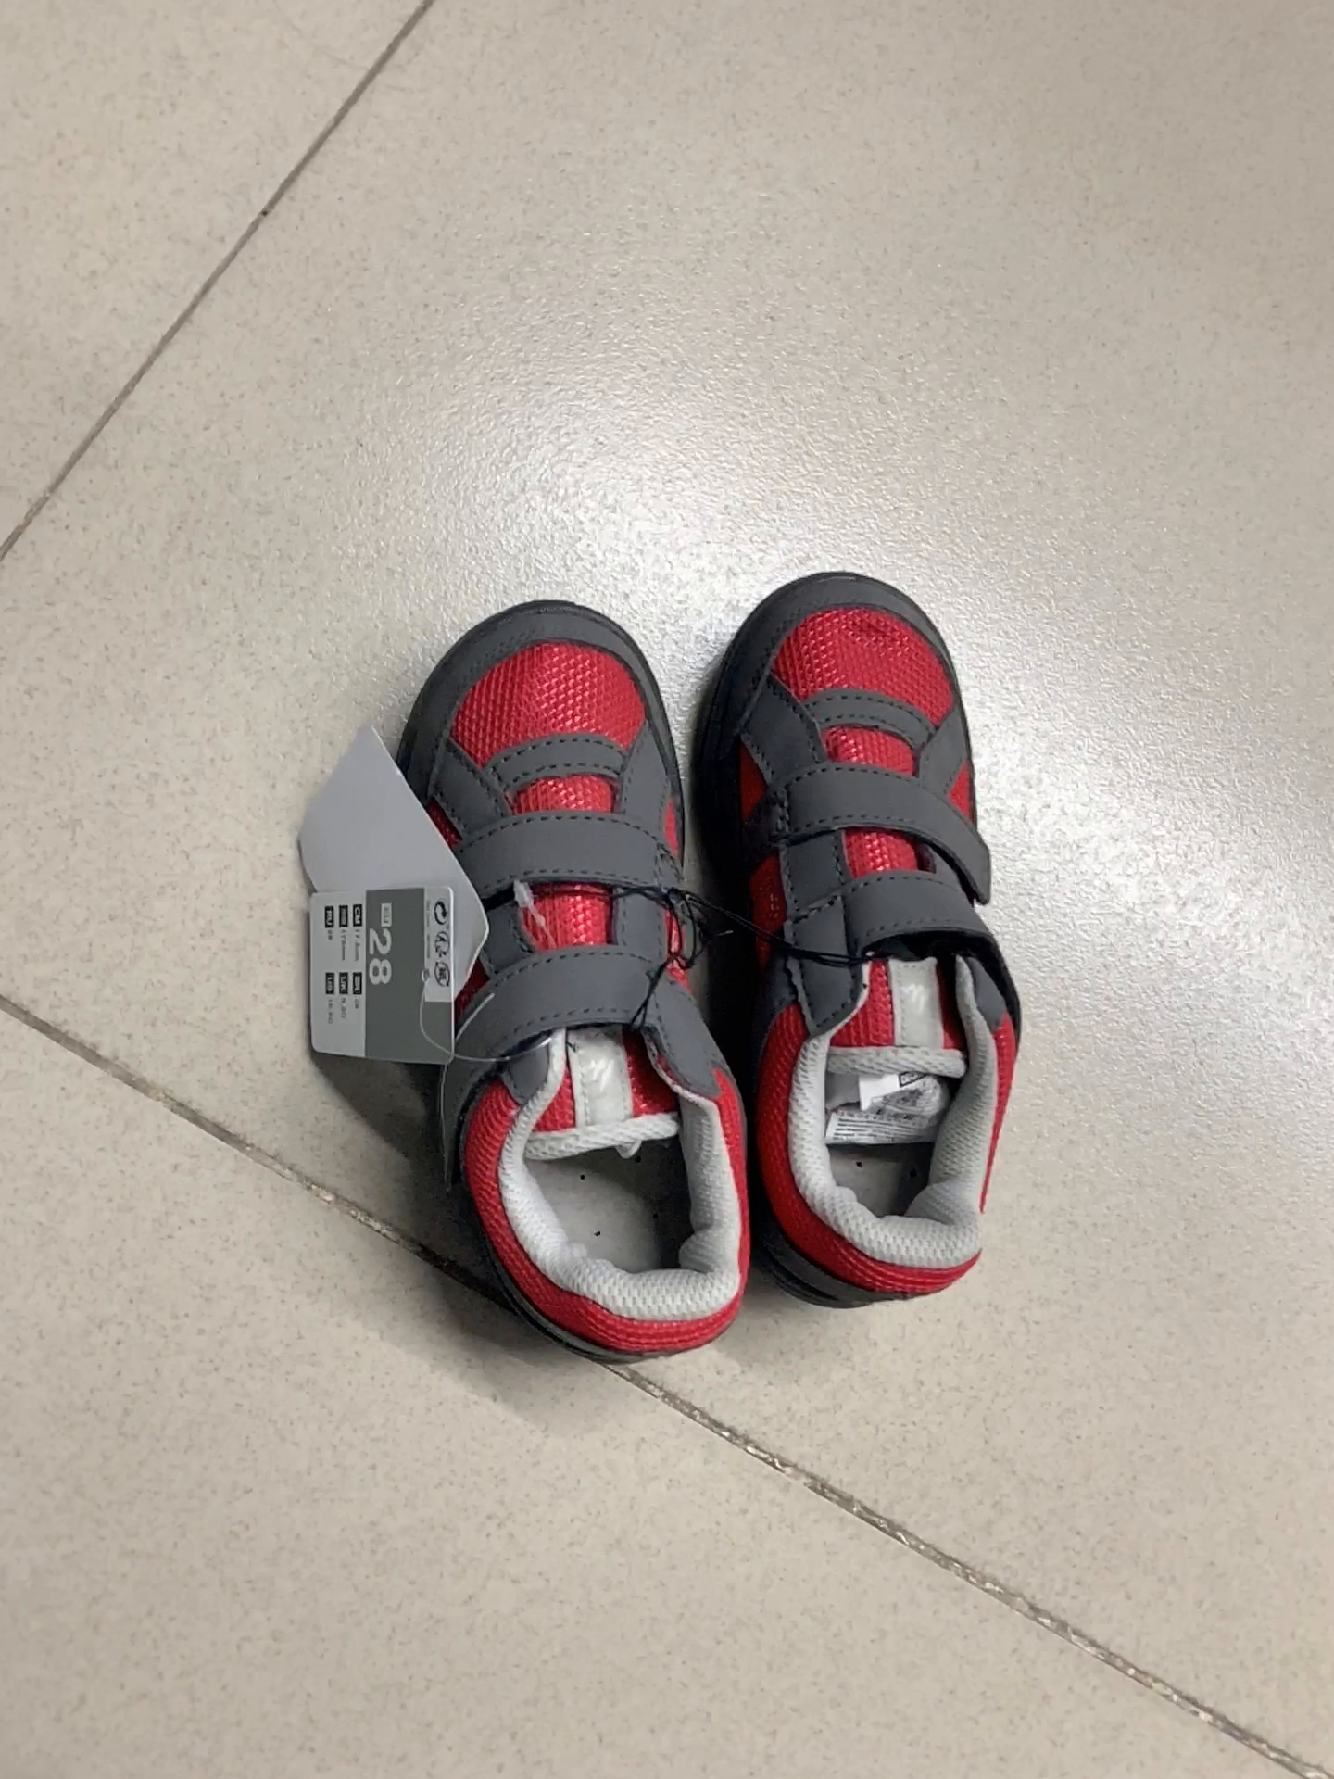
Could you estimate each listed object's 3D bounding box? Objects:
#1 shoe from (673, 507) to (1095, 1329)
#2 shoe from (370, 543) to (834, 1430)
[{"bbox_3d":[0.052,0.008,0.363,0.080,0.080,0.190,0,84,-13],"label":"shoe"},{"bbox_3d":[-0.022,0.019,0.328,0.080,0.080,0.180,-5,86,-13],"label":"shoe"}]
